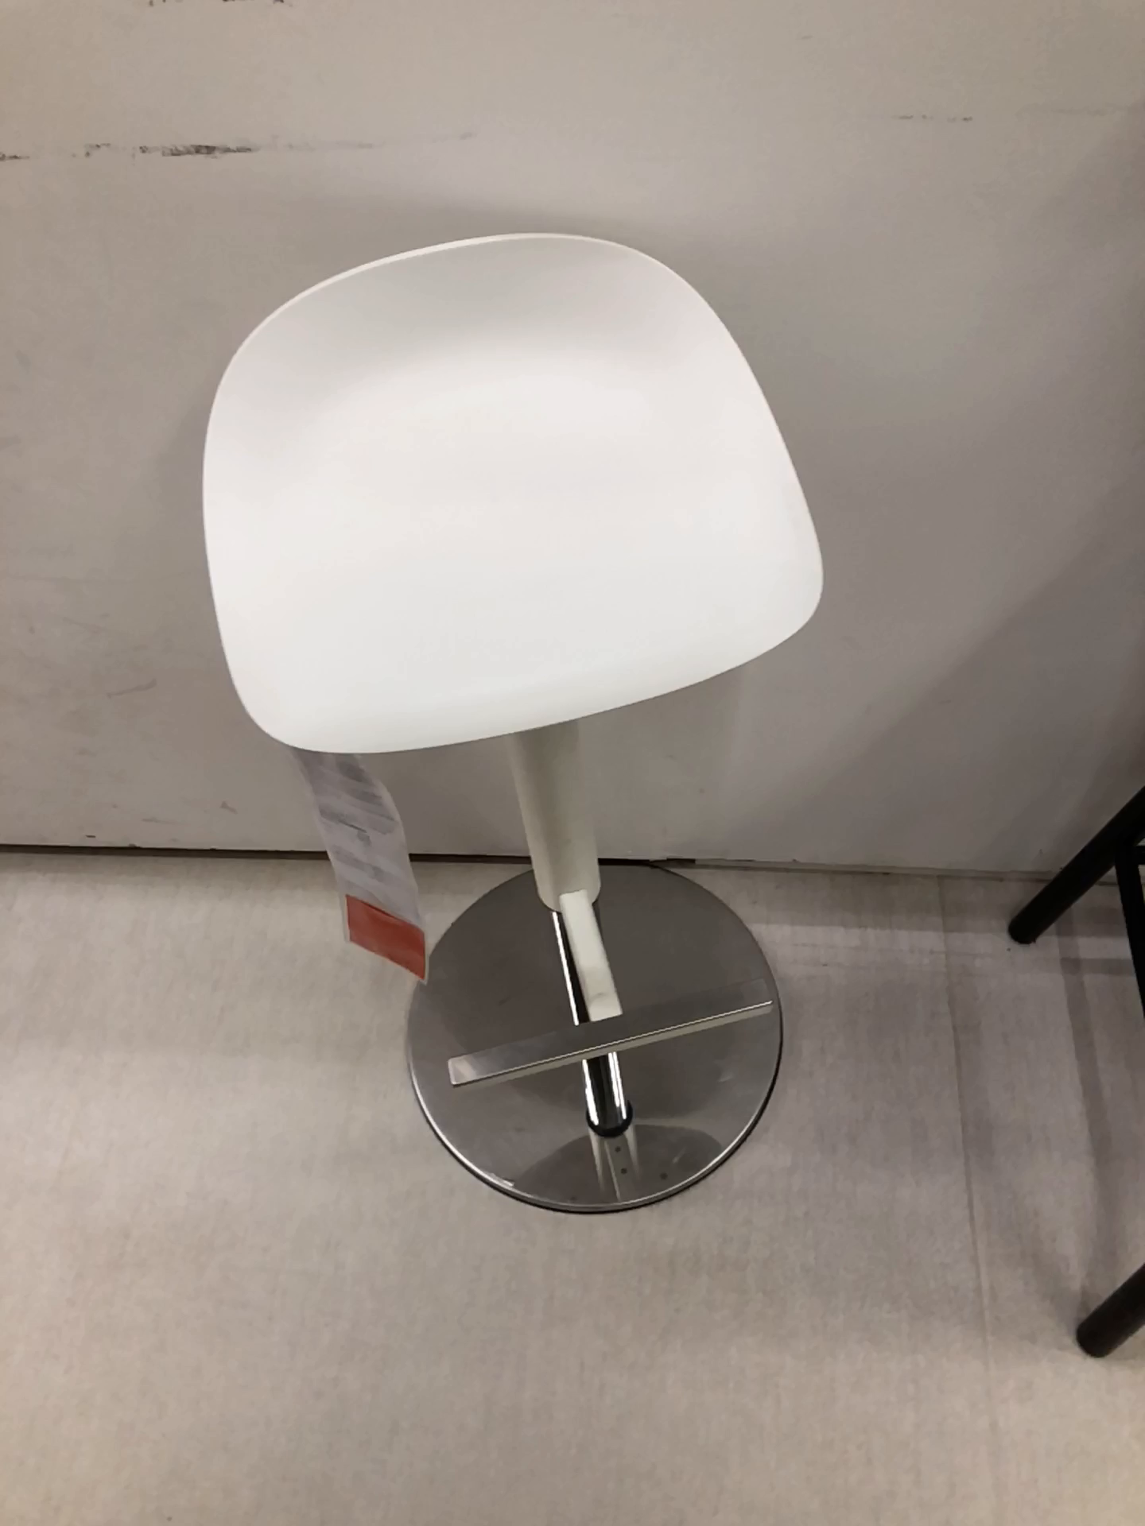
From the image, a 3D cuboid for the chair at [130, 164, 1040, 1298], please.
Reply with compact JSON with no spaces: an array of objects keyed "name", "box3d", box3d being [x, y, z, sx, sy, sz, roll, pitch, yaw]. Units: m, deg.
[{"name":"chair","box3d":[-0.011,0.029,1.052,0.440,0.746,0.513,-14,53,-4]}]
